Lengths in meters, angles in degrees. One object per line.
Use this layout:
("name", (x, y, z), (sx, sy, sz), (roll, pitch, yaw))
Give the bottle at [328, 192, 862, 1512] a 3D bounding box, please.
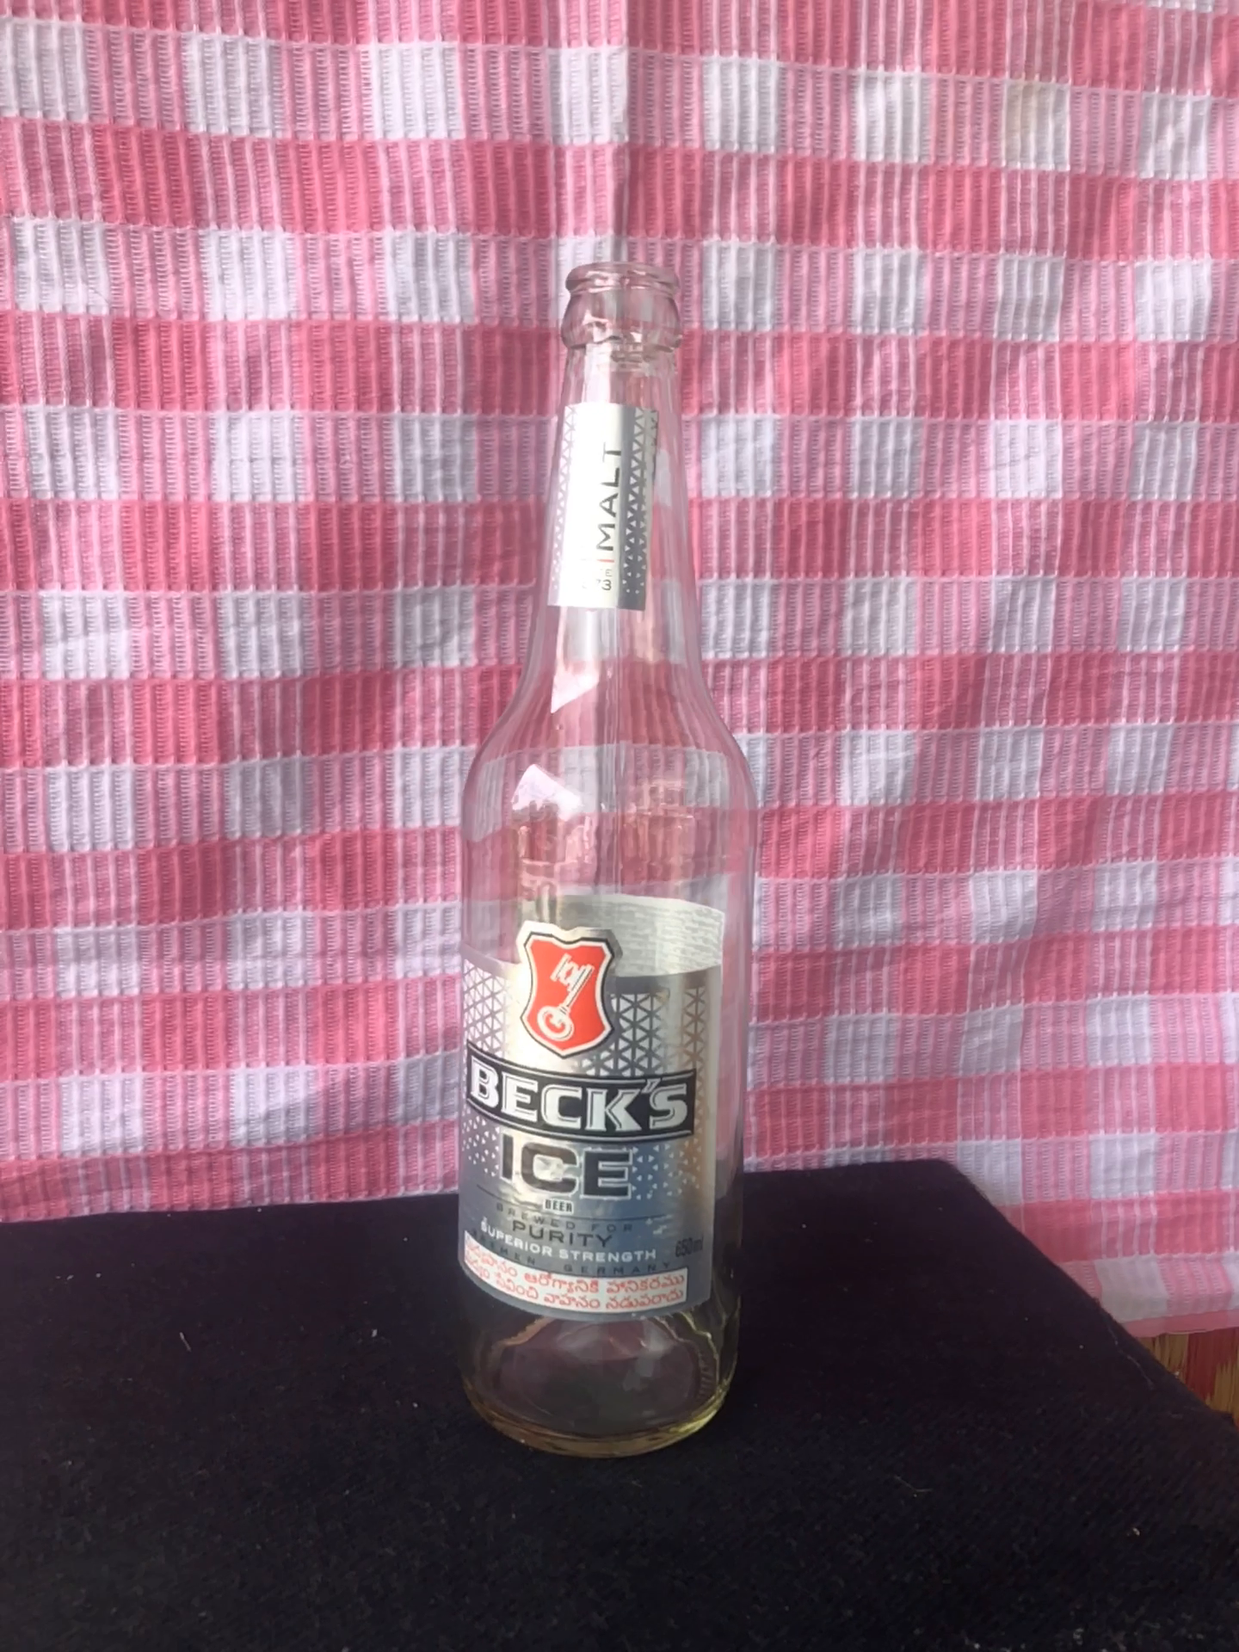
("bottle", (-0.007, 0.005, 0.324), (0.090, 0.269, 0.080), (7, 12, 20))
